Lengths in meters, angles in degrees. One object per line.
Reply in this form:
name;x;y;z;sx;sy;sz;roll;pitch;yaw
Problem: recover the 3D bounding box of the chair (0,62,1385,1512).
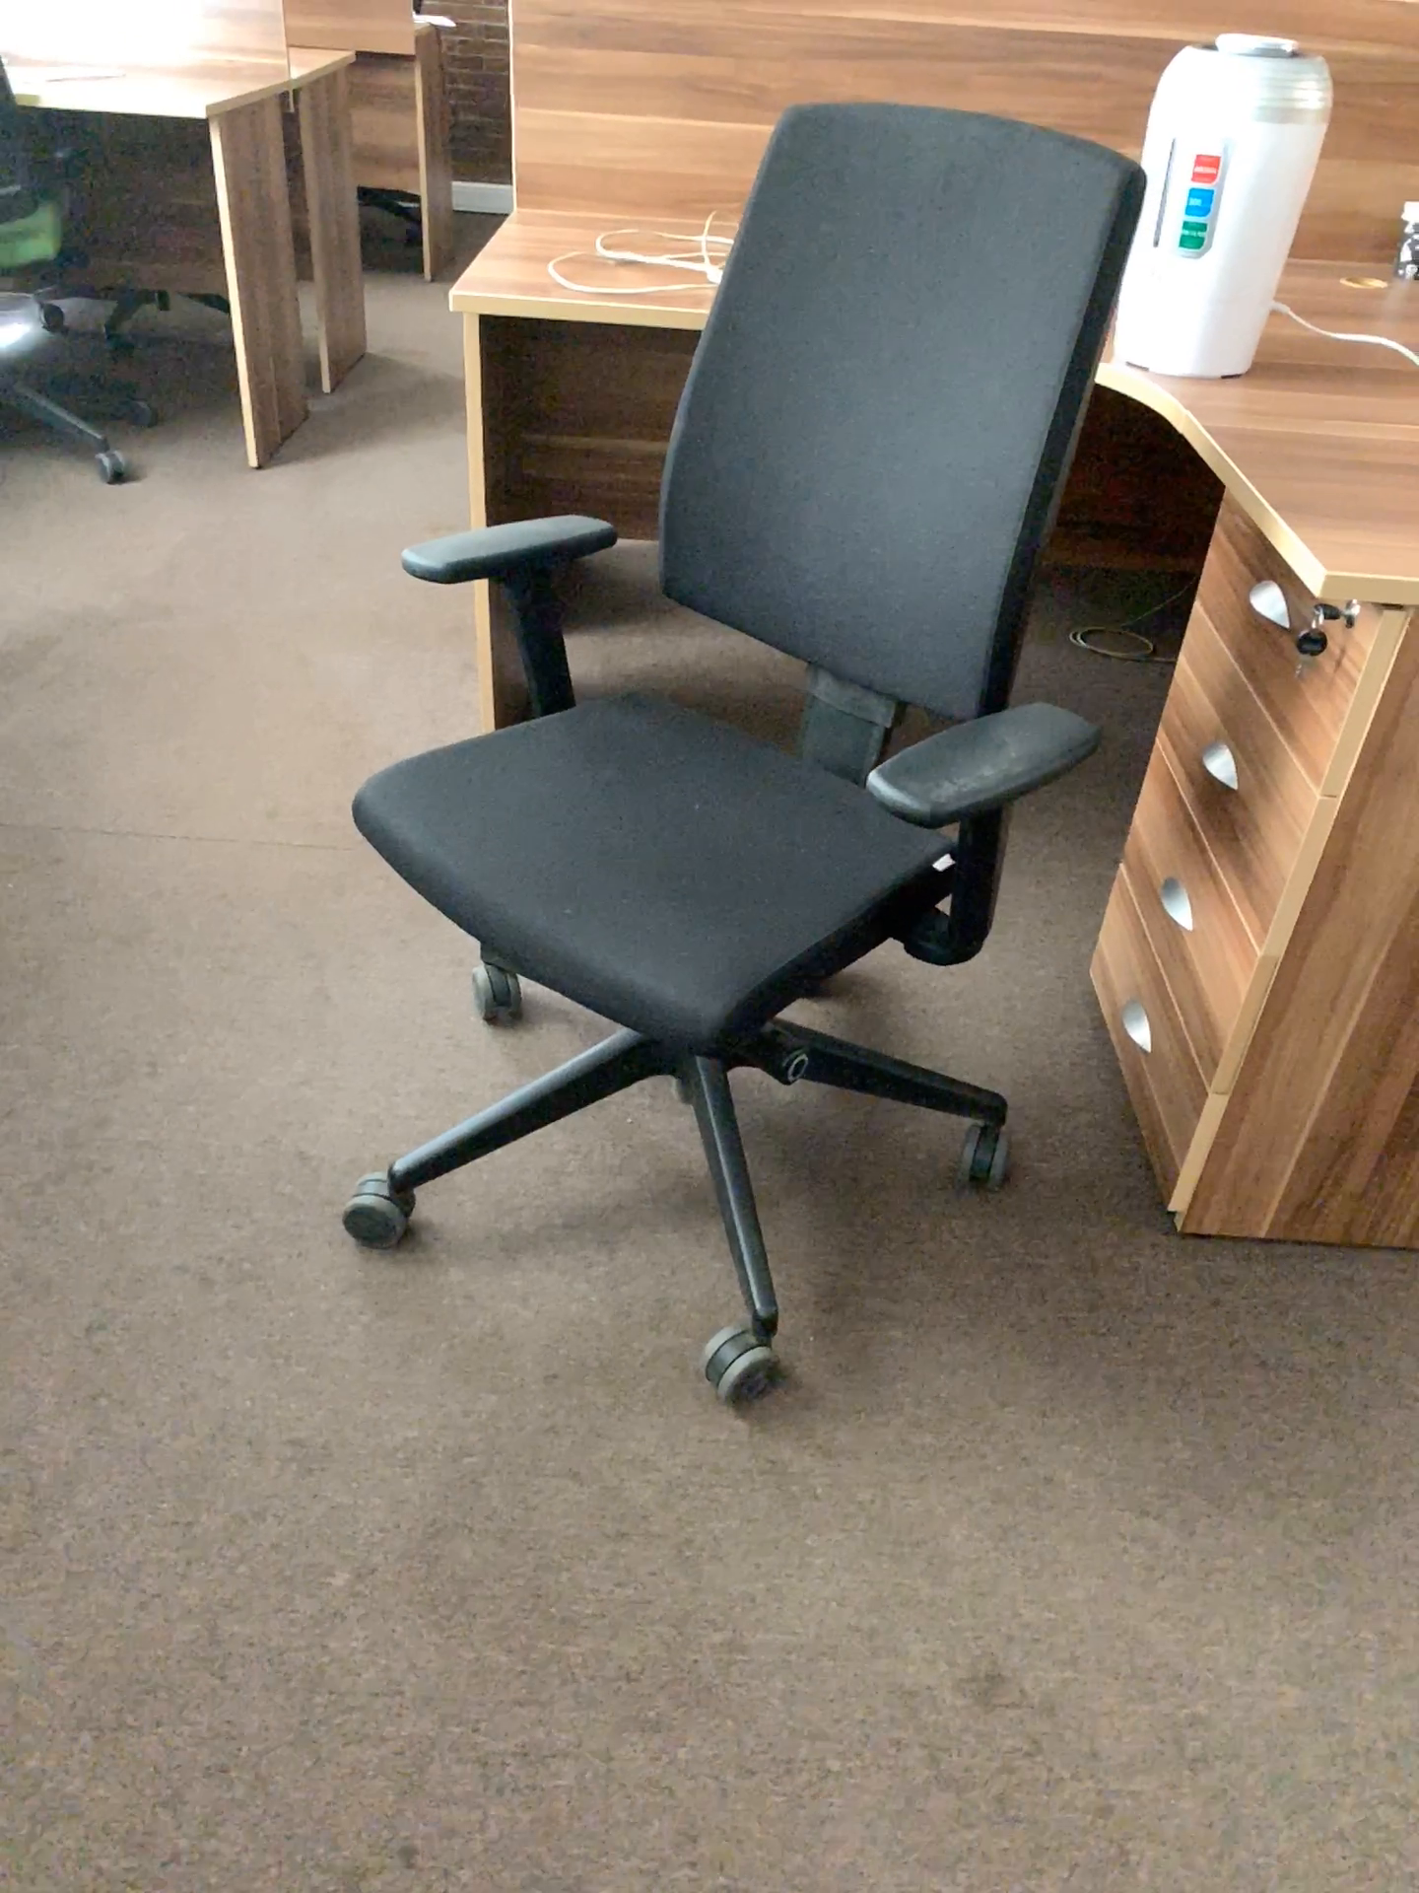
chair;-0.019;-0.224;1.310;0.672;0.915;0.792;30;43;32
